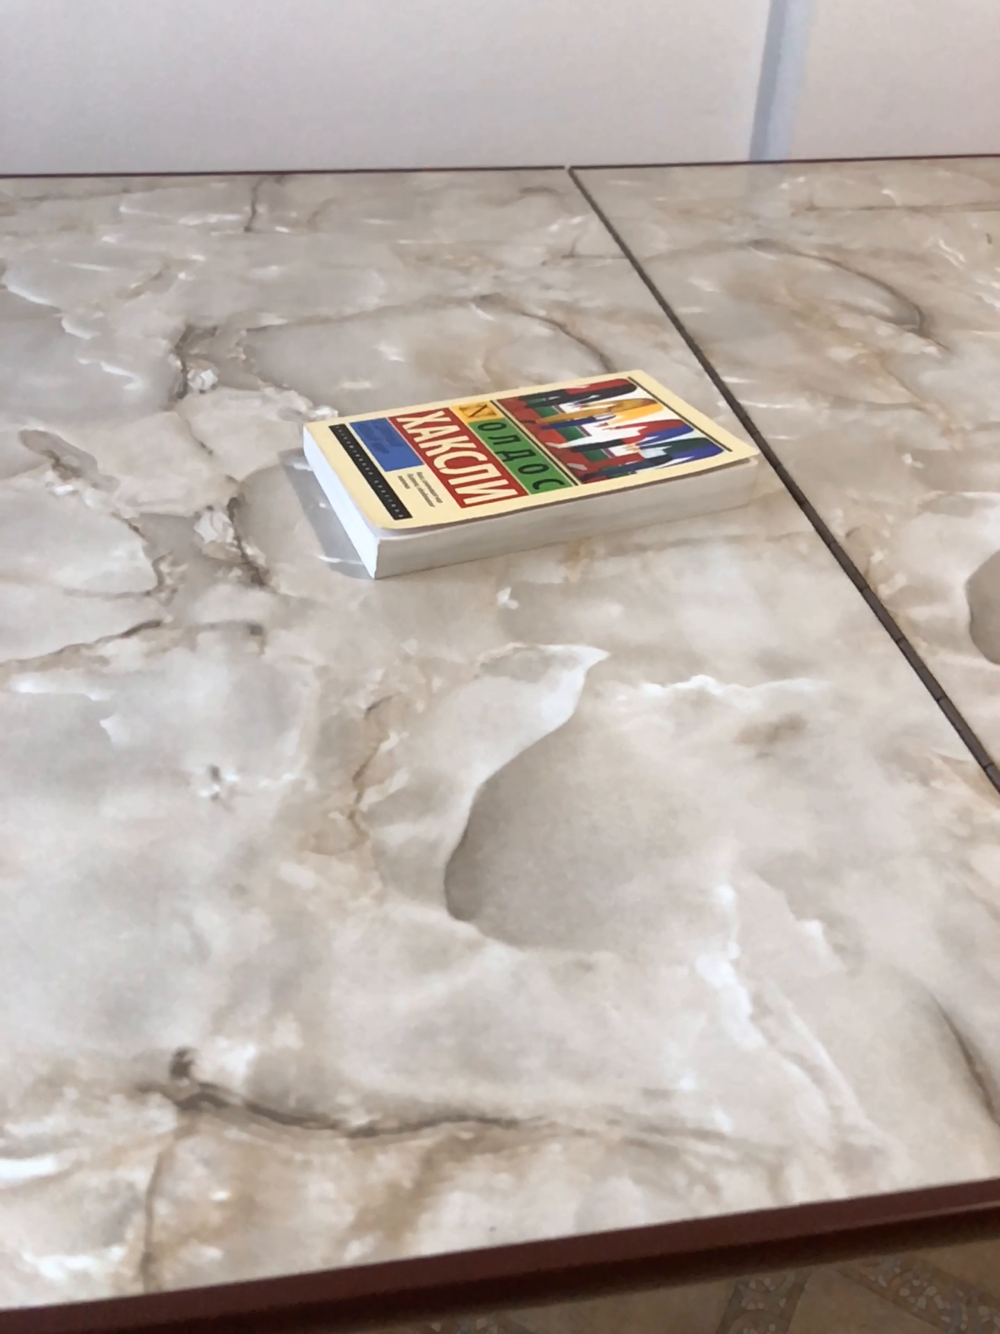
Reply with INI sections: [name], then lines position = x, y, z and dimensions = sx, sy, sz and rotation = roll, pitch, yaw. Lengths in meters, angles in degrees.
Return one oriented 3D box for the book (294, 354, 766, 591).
[book]
position = 0.010, -0.097, 0.510
dimensions = 0.184, 0.028, 0.121
rotation = -13, 40, -17
